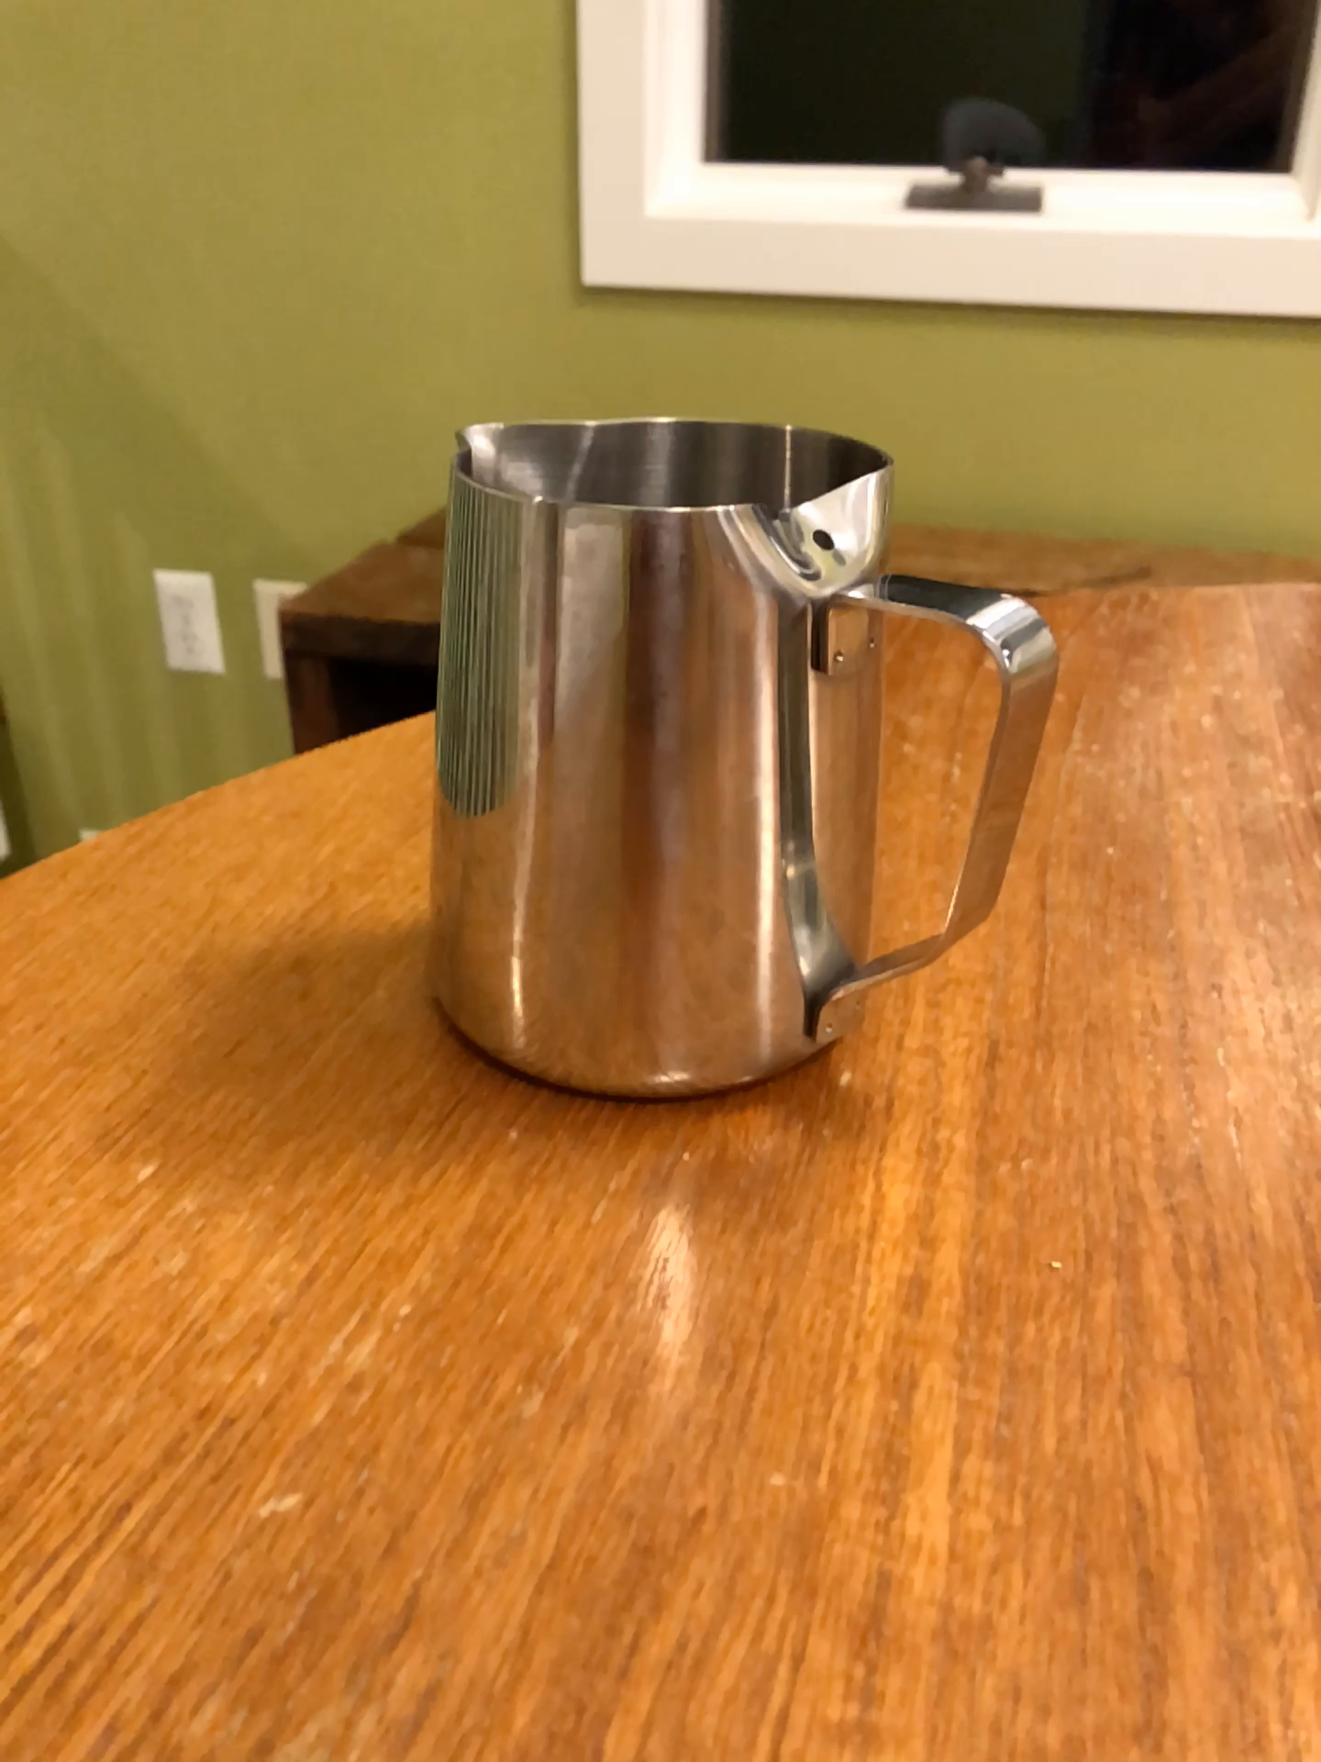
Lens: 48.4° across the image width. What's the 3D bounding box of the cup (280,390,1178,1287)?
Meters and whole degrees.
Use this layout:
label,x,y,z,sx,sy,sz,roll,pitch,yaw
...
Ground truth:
label,x,y,z,sx,sy,sz,roll,pitch,yaw
cup,0.007,-0.021,0.281,0.136,0.114,0.083,25,36,38
